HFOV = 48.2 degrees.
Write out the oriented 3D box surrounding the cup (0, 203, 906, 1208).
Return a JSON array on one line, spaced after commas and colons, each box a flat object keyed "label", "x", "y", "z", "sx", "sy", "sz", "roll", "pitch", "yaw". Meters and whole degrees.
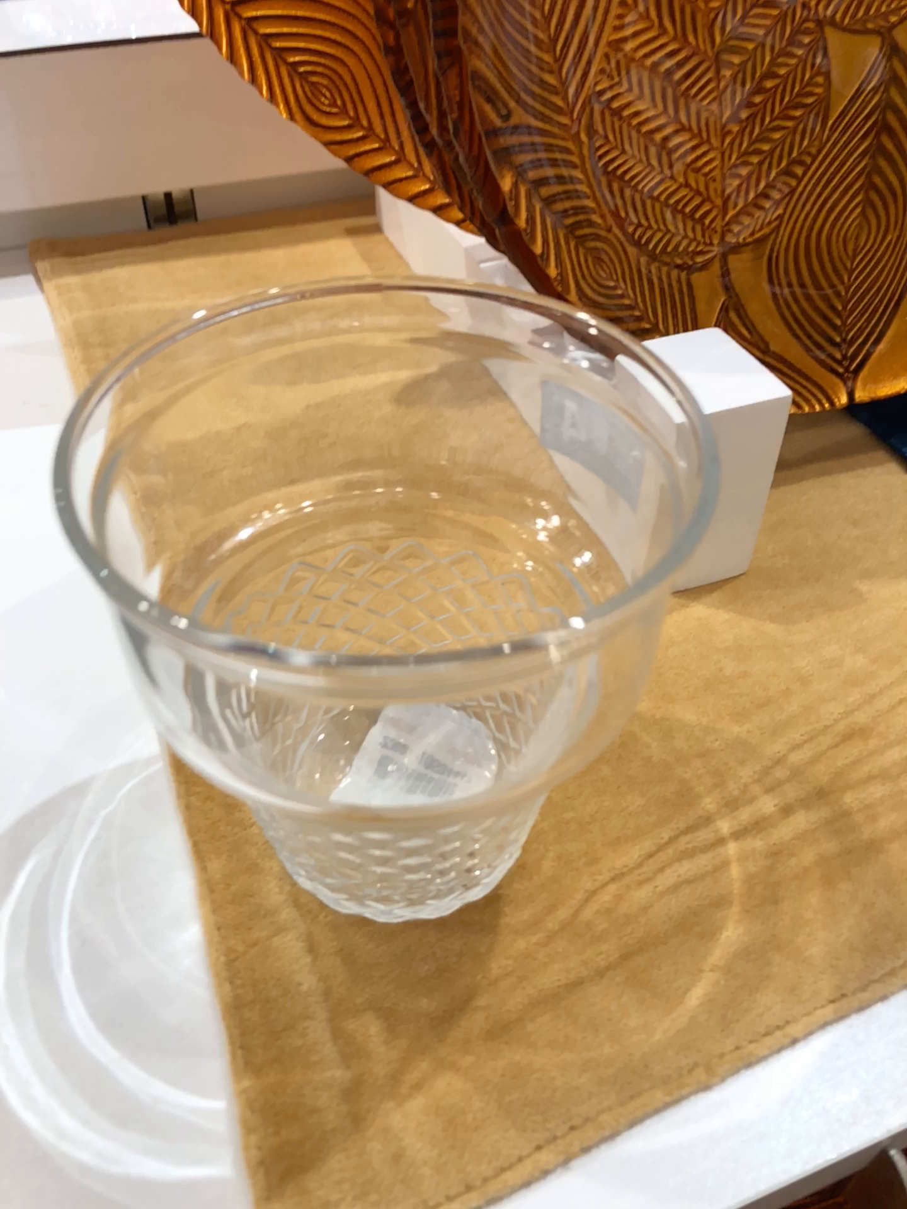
[{"label": "cup", "x": 0.005, "y": 0.004, "z": 0.132, "sx": 0.080, "sy": 0.070, "sz": 0.080, "roll": 0, "pitch": 42, "yaw": 0}]
